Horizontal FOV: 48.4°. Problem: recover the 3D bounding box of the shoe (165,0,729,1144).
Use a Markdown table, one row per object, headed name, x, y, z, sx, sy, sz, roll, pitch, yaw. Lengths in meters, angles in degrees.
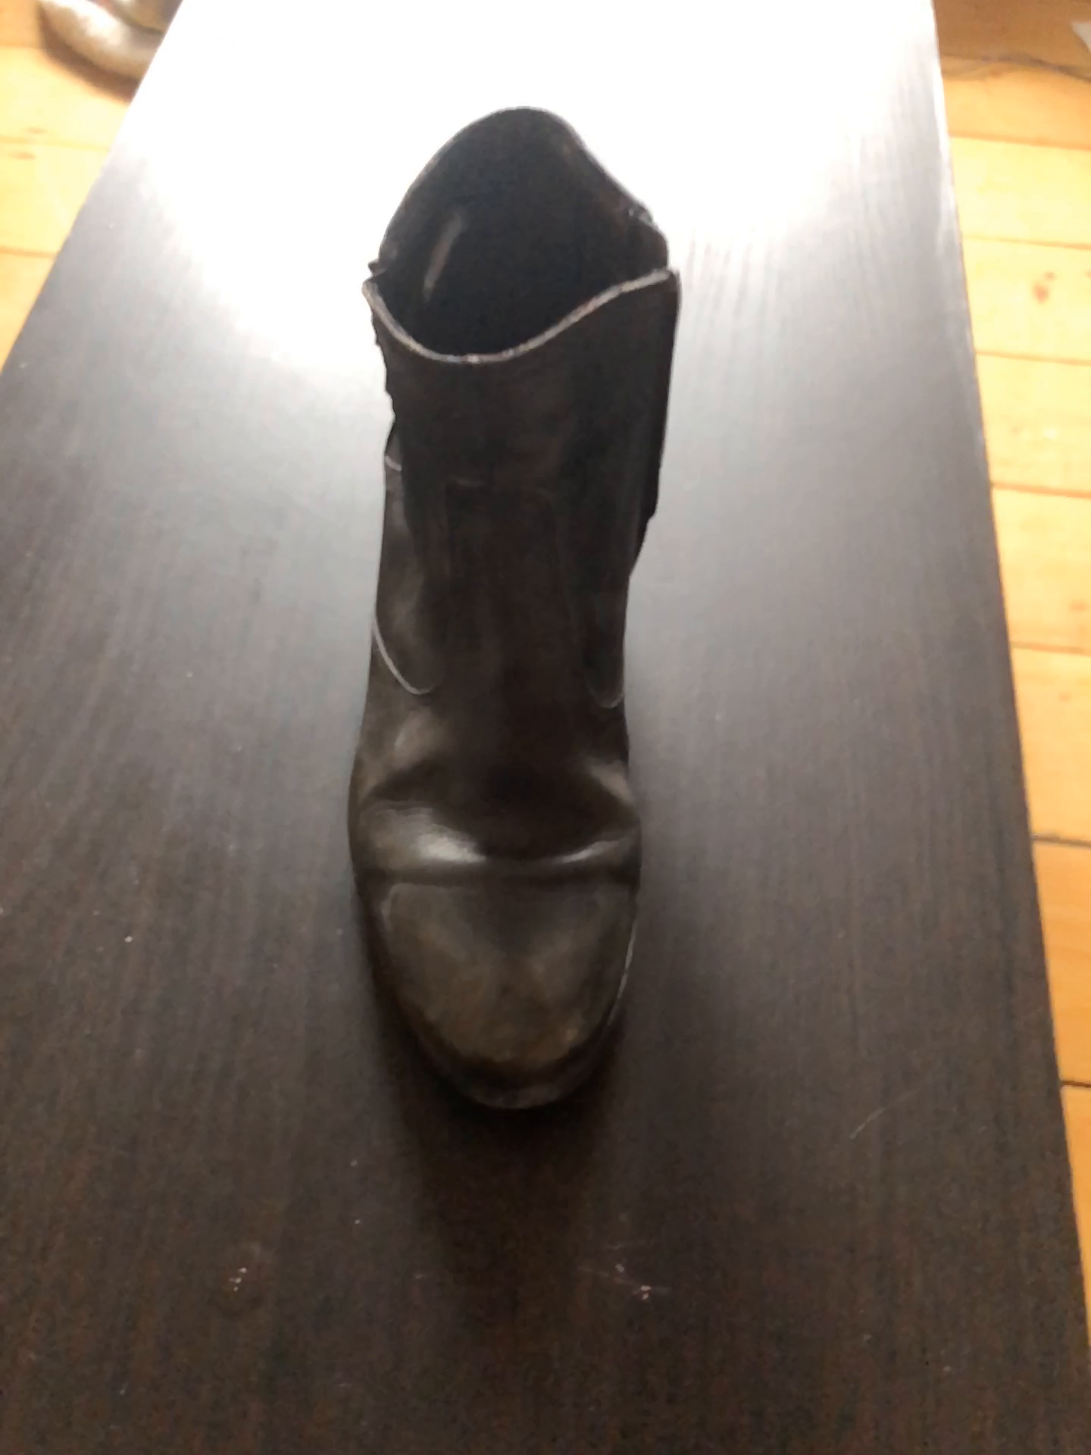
| name | x | y | z | sx | sy | sz | roll | pitch | yaw |
| --- | --- | --- | --- | --- | --- | --- | --- | --- | --- |
| shoe | -0.014 | -0.045 | 0.338 | 0.090 | 0.169 | 0.271 | 1 | 58 | 0 |
